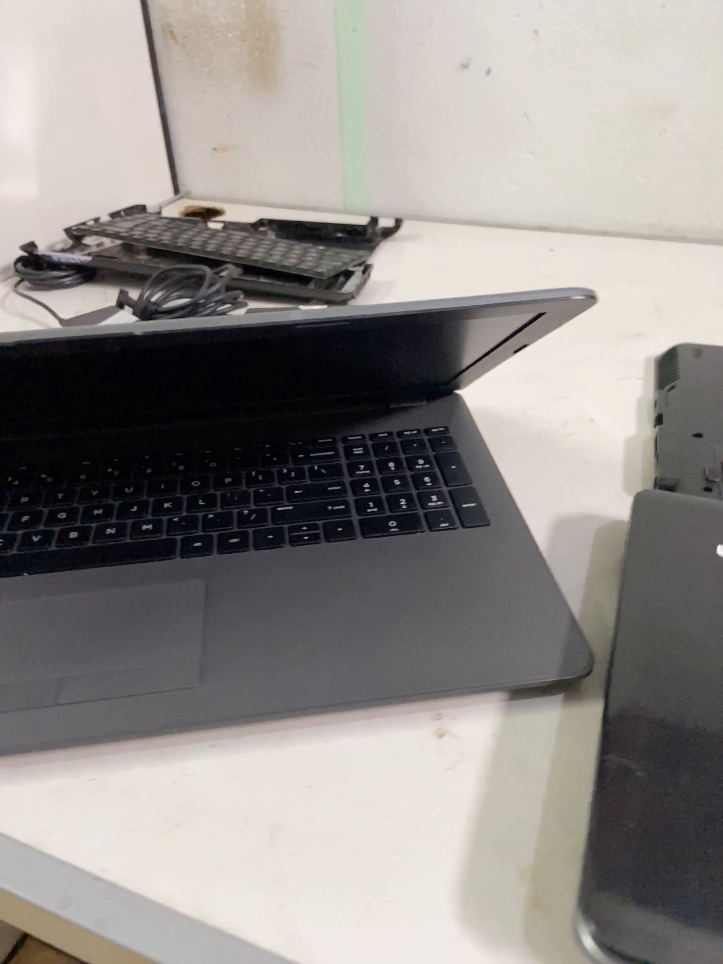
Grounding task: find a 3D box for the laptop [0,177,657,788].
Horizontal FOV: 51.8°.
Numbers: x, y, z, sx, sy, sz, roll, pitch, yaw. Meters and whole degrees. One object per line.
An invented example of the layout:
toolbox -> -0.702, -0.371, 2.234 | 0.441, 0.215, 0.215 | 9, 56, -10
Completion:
laptop -> -0.109, -0.031, 0.360 | 0.379, 0.141, 0.249 | -6, 36, -5
